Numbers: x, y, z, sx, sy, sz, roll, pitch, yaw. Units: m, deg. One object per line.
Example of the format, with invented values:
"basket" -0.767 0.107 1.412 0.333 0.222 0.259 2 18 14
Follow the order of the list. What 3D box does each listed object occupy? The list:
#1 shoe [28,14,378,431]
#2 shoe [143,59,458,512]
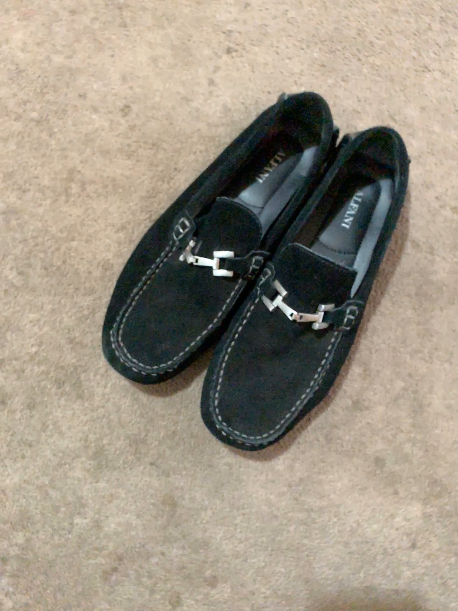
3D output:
"shoe" -0.009 -0.064 0.386 0.100 0.100 0.311 30 78 7
"shoe" 0.069 -0.020 0.370 0.100 0.100 0.311 30 78 7
